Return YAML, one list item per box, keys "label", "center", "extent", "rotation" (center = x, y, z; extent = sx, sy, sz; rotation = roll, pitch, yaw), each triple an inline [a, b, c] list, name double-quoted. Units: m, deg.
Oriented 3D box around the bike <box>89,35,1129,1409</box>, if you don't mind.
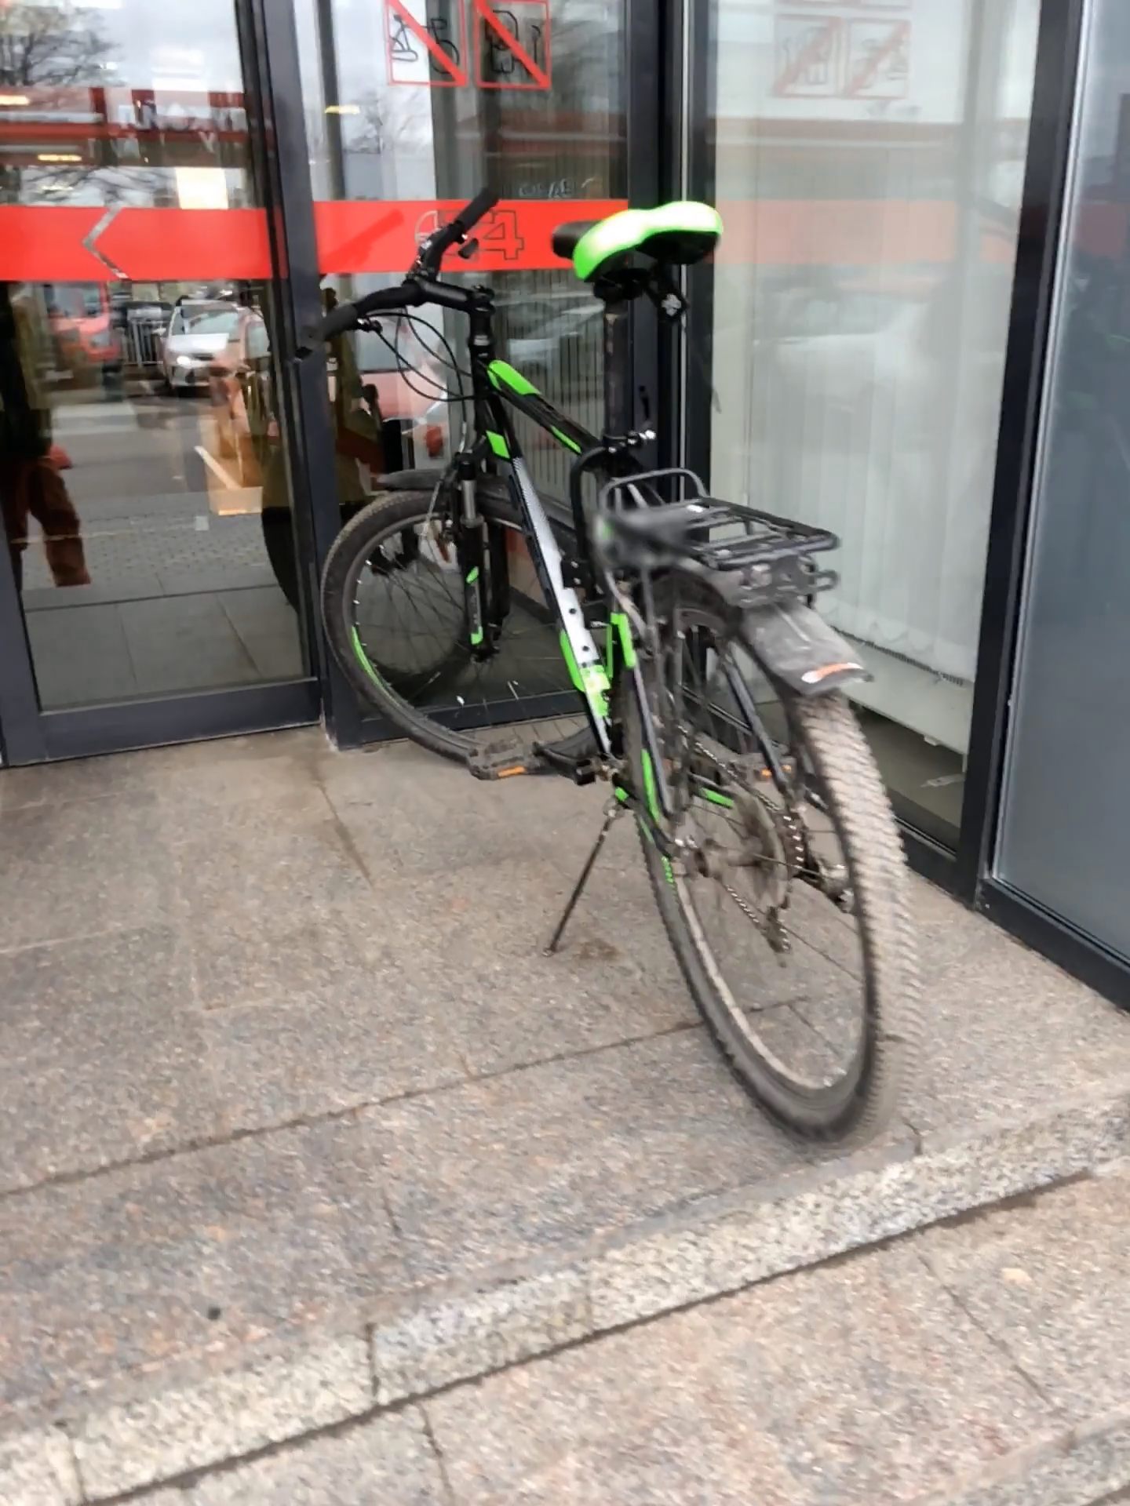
- label: "bike"
  center: [-0.105, -0.197, 1.661]
  extent: [0.629, 1.052, 1.549]
  rotation: [-12, 22, -26]
